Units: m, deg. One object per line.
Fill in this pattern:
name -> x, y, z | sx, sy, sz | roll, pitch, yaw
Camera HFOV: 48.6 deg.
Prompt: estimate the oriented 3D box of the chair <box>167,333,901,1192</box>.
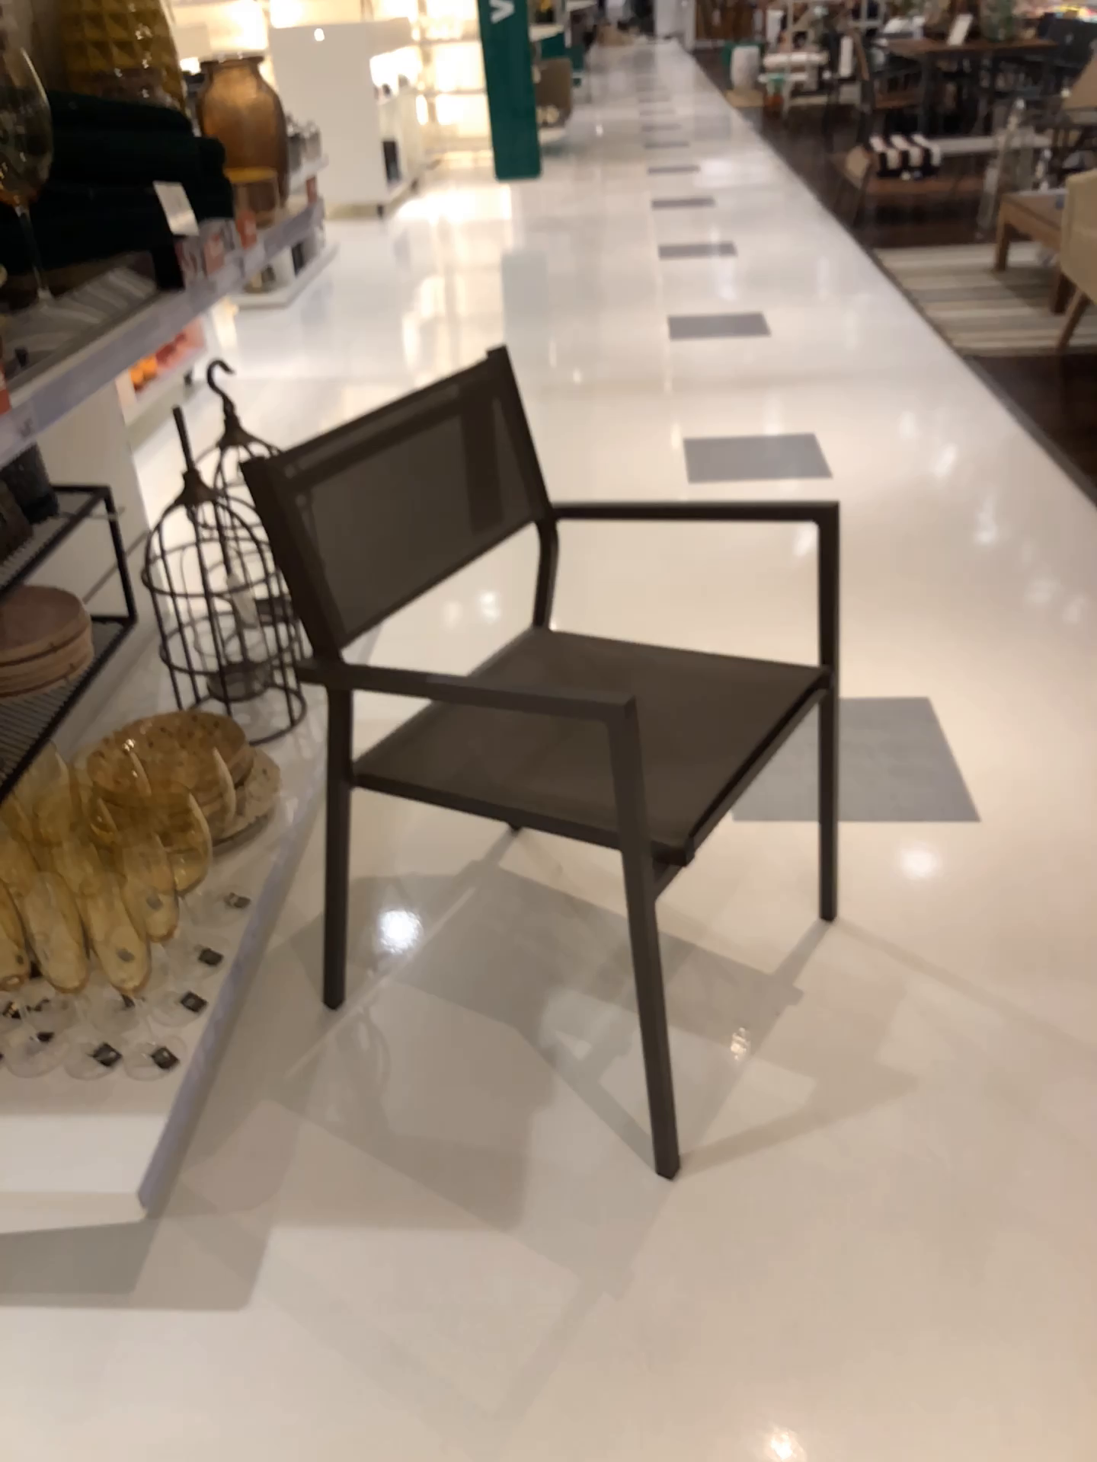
chair -> 0.027, -0.013, 1.506 | 0.581, 0.764, 0.573 | 15, 36, 28
